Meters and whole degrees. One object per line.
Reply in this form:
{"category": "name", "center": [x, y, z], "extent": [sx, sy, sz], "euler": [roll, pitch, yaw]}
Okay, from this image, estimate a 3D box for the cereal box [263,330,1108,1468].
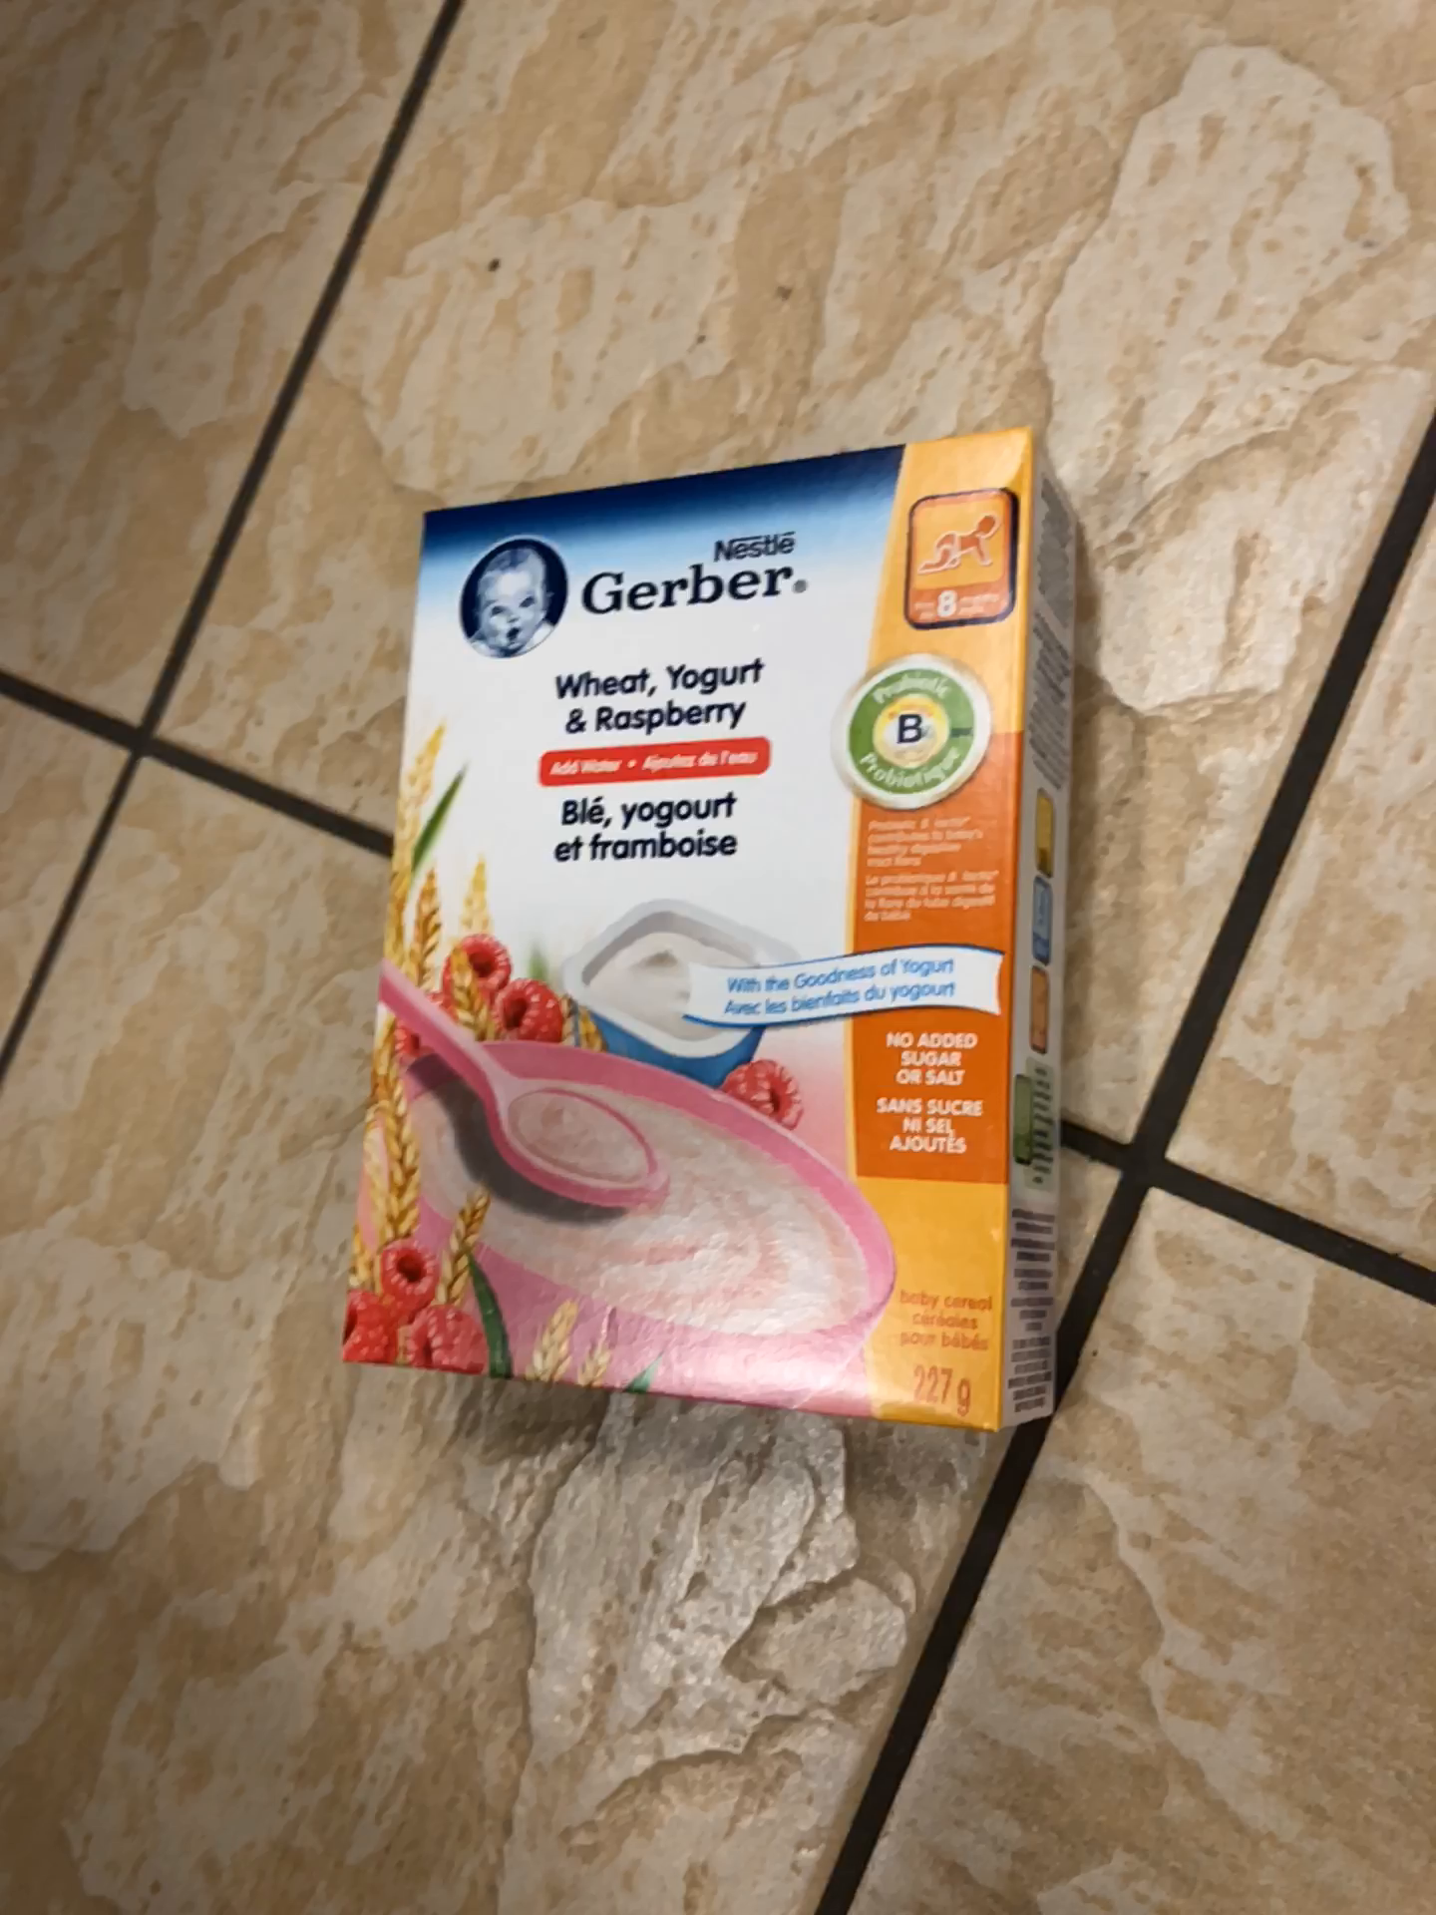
{"category": "cereal box", "center": [-0.005, -0.011, 0.343], "extent": [0.160, 0.050, 0.210], "euler": [-1, 78, 25]}
